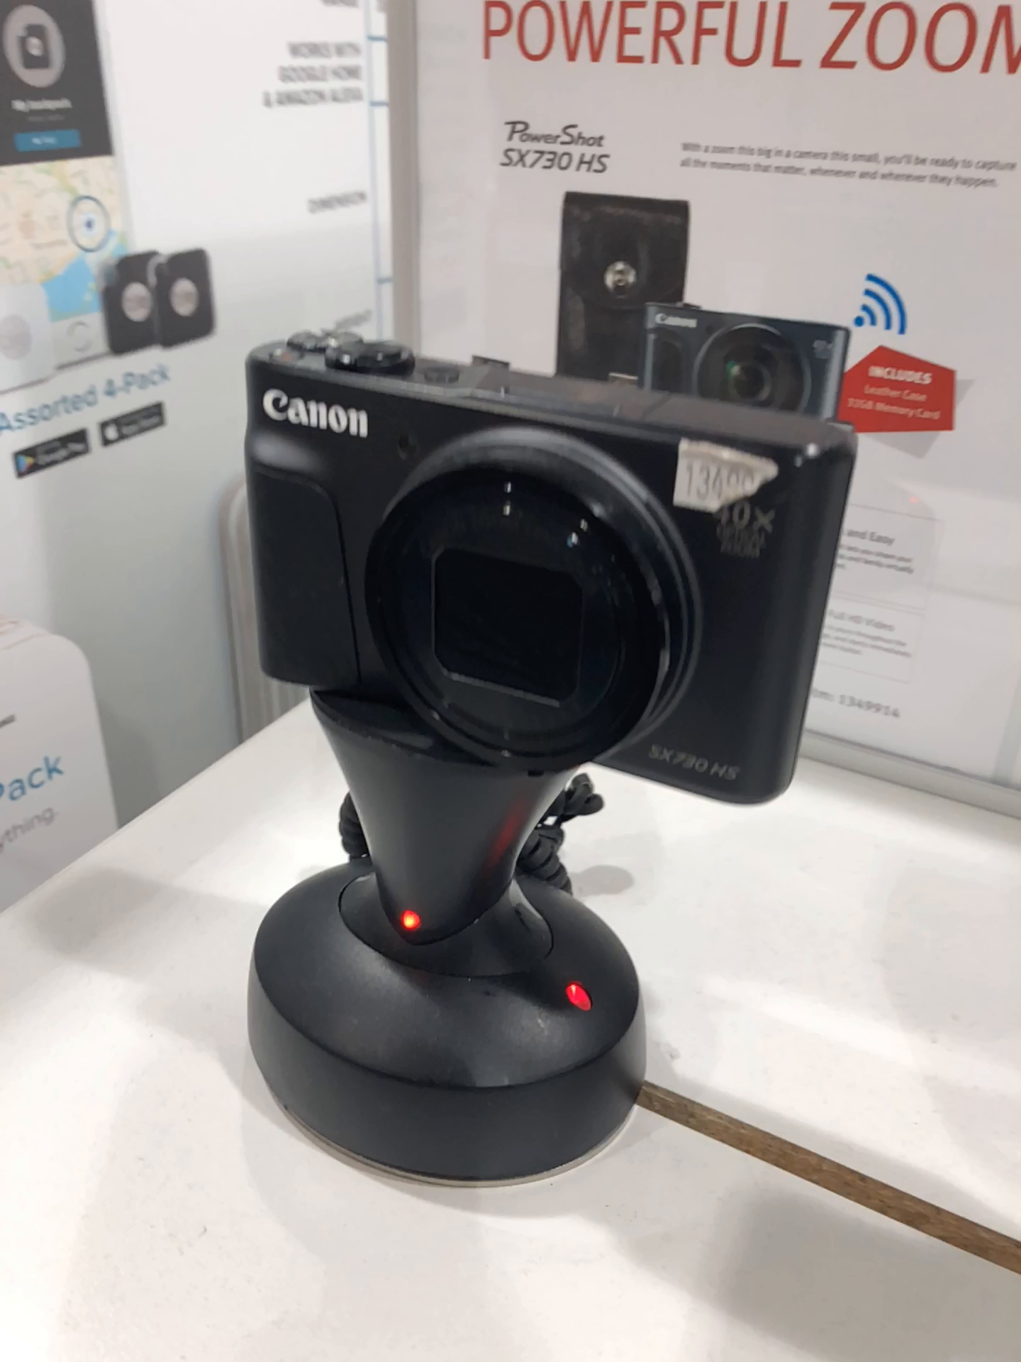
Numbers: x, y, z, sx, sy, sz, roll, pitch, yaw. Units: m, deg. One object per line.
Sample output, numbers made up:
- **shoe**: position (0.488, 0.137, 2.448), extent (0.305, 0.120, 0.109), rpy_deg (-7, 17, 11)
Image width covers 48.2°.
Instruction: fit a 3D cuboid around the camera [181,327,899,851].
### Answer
- **camera**: position (0.002, -0.021, 0.199), extent (0.110, 0.060, 0.040), rpy_deg (15, 31, 23)
